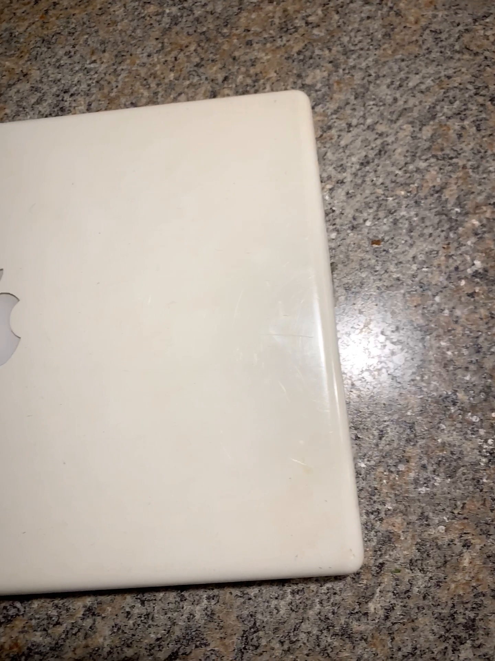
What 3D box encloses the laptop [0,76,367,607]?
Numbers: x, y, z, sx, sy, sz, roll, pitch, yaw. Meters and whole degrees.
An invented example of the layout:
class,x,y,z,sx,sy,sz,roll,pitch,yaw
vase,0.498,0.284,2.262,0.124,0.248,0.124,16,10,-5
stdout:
class,x,y,z,sx,sy,sz,roll,pitch,yaw
laptop,-0.118,0.001,0.223,0.305,0.002,0.205,-6,75,7
